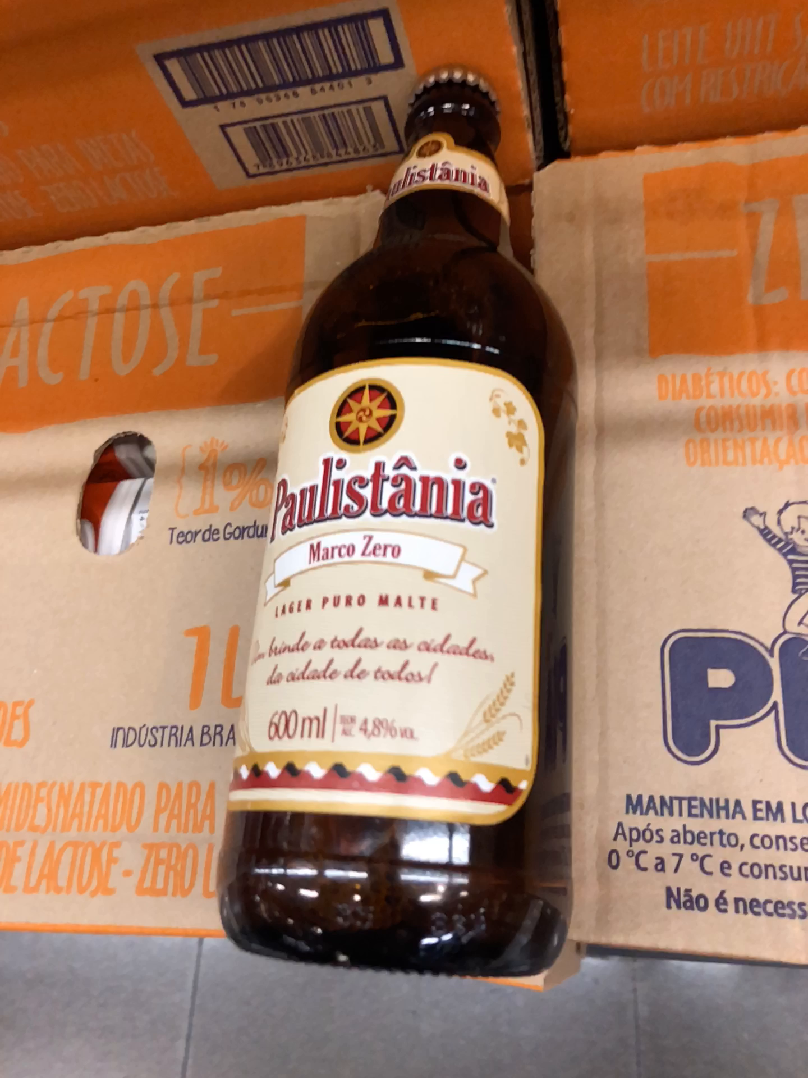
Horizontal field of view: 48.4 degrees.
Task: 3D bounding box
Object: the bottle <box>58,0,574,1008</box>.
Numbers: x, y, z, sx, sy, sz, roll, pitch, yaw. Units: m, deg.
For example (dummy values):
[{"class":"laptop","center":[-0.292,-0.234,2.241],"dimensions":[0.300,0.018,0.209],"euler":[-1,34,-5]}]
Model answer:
[{"class":"bottle","center":[-0.003,-0.038,0.208],"dimensions":[0.080,0.050,0.251],"euler":[-2,67,15]}]
